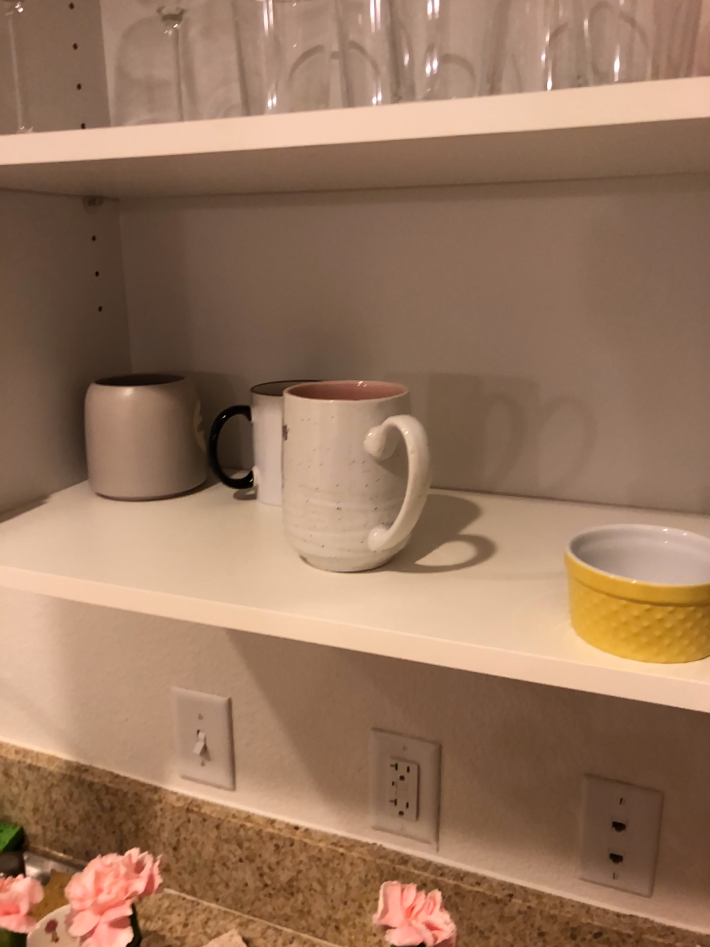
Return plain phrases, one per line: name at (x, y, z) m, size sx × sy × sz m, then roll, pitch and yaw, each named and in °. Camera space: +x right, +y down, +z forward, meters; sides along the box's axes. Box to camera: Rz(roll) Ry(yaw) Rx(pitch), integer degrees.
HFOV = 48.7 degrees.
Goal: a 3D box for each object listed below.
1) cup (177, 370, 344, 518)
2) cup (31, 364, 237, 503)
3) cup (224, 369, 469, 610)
cup at (-0.076, -0.028, 0.622) m, size 0.110 × 0.090 × 0.090 m, roll -6°, pitch 16°, yaw -19°
cup at (-0.189, -0.042, 0.700) m, size 0.110 × 0.090 × 0.151 m, roll 3°, pitch 16°, yaw 14°
cup at (-0.010, 0.000, 0.498) m, size 0.090 × 0.110 × 0.140 m, roll -10°, pitch 18°, yaw -31°
